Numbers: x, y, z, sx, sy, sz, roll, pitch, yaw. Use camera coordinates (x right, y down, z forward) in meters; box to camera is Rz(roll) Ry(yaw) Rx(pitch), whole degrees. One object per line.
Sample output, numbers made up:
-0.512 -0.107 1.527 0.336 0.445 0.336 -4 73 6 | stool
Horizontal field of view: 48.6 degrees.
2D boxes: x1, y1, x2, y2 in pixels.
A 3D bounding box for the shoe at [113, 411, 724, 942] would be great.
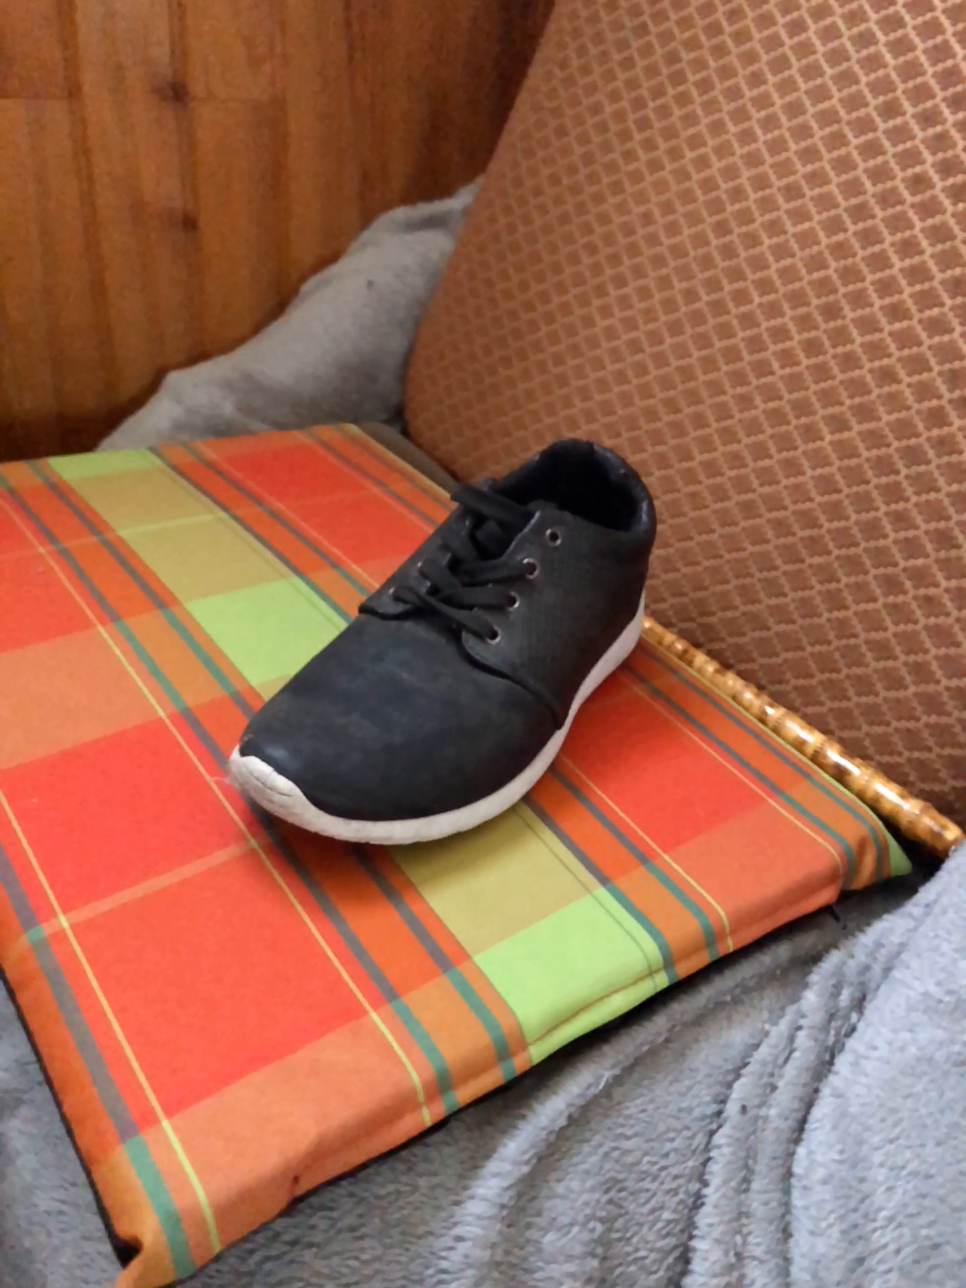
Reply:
-0.007 -0.011 0.451 0.110 0.080 0.268 22 36 25 | shoe
